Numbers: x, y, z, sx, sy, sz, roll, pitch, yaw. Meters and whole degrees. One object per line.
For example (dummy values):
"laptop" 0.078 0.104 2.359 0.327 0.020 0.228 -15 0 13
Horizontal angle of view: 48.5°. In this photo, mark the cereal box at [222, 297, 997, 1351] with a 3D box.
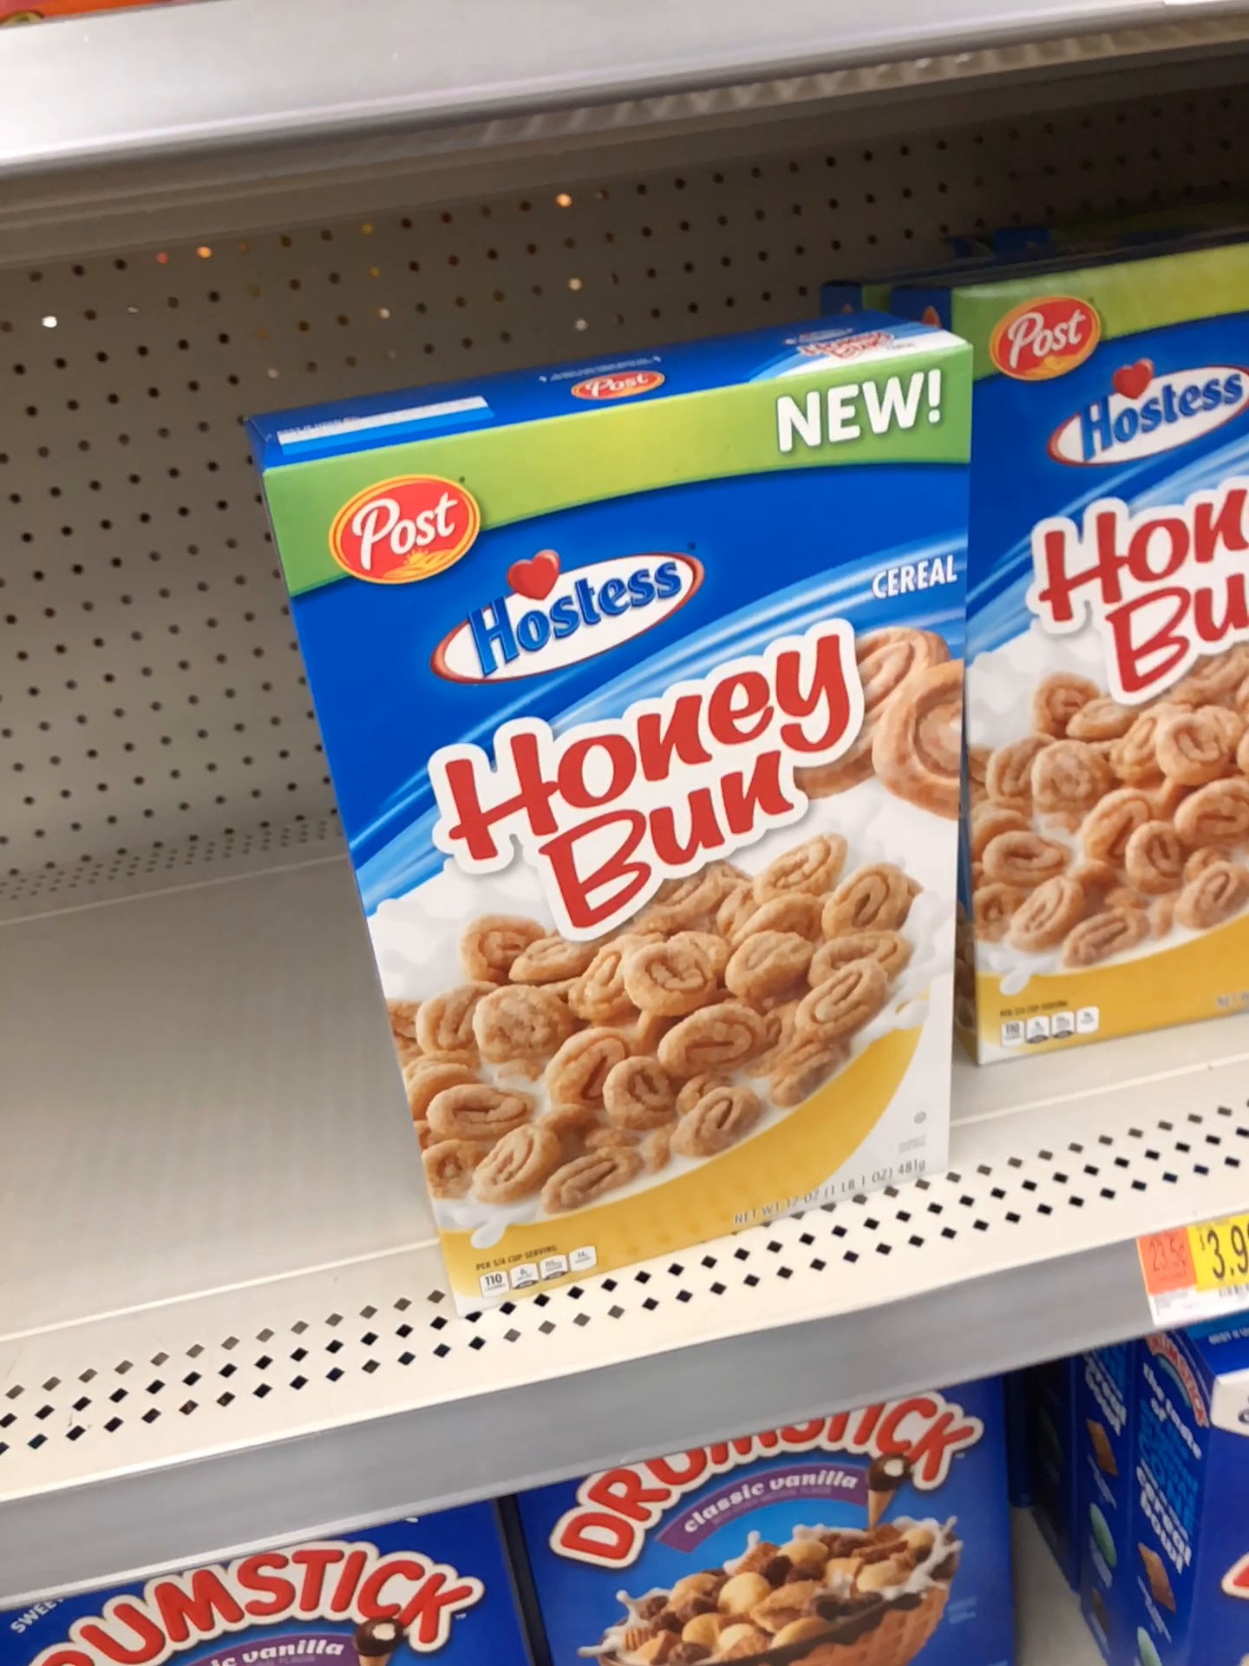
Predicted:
"cereal box" 0.011 0.009 0.448 0.200 0.309 0.060 -14 30 -12
